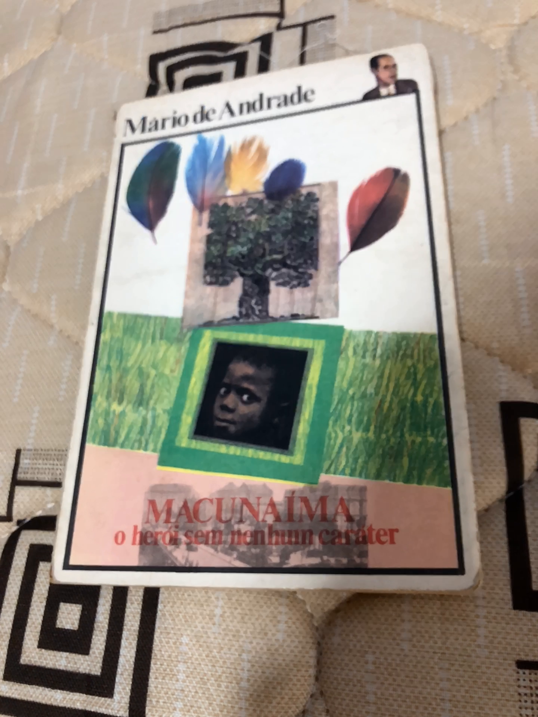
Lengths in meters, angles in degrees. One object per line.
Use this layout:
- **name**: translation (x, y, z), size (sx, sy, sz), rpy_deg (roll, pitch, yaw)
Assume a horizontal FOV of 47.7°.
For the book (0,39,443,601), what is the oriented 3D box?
- **book**: translation (-0.015, -0.020, 0.211), size (0.130, 0.020, 0.190), rpy_deg (-4, 68, 14)
